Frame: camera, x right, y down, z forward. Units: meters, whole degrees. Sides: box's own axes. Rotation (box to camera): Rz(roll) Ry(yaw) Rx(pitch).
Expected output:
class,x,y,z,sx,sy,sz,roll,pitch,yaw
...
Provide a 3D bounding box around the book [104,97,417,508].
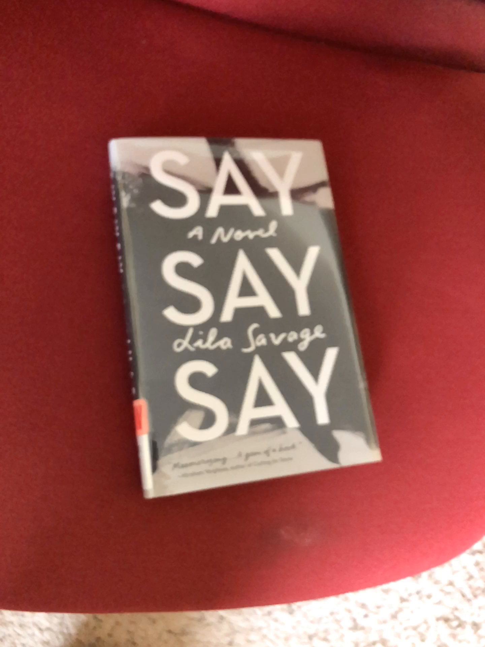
class,x,y,z,sx,sy,sz,roll,pitch,yaw
book,0.008,-0.018,0.315,0.150,0.040,0.210,-5,83,-17
